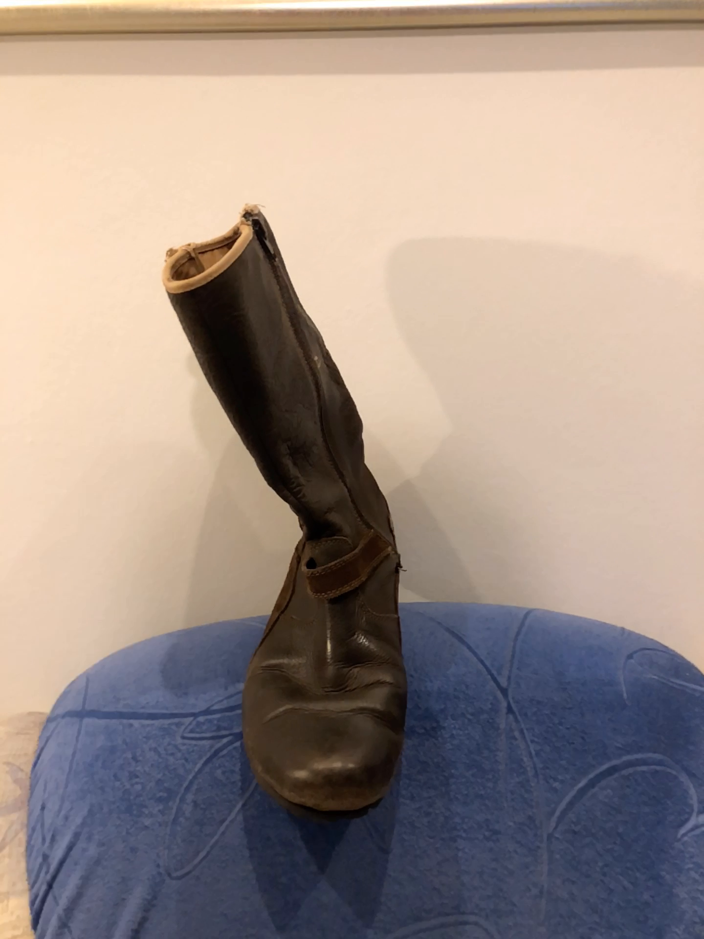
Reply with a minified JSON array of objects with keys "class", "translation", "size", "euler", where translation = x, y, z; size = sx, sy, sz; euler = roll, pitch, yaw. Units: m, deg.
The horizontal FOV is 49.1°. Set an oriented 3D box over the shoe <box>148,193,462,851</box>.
[{"class":"shoe","translation":[-0.018,0.014,0.460],"size":[0.110,0.278,0.272],"euler":[-2,33,-1]}]
